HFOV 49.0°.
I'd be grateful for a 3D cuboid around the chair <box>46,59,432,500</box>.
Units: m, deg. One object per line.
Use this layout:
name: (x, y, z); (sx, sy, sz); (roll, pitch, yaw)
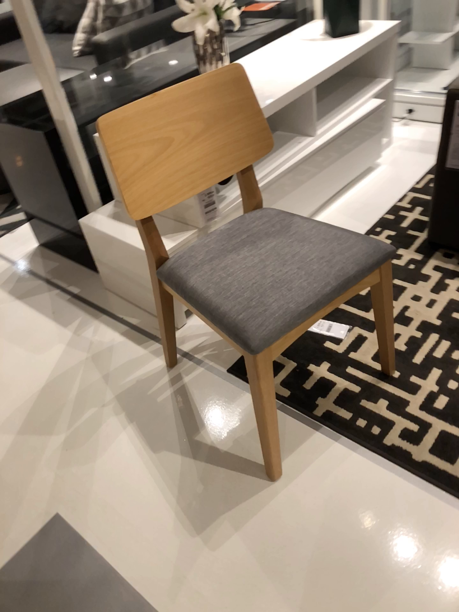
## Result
chair: (0.049, -0.088, 1.272); (0.542, 0.794, 0.583); (-34, 45, -25)
